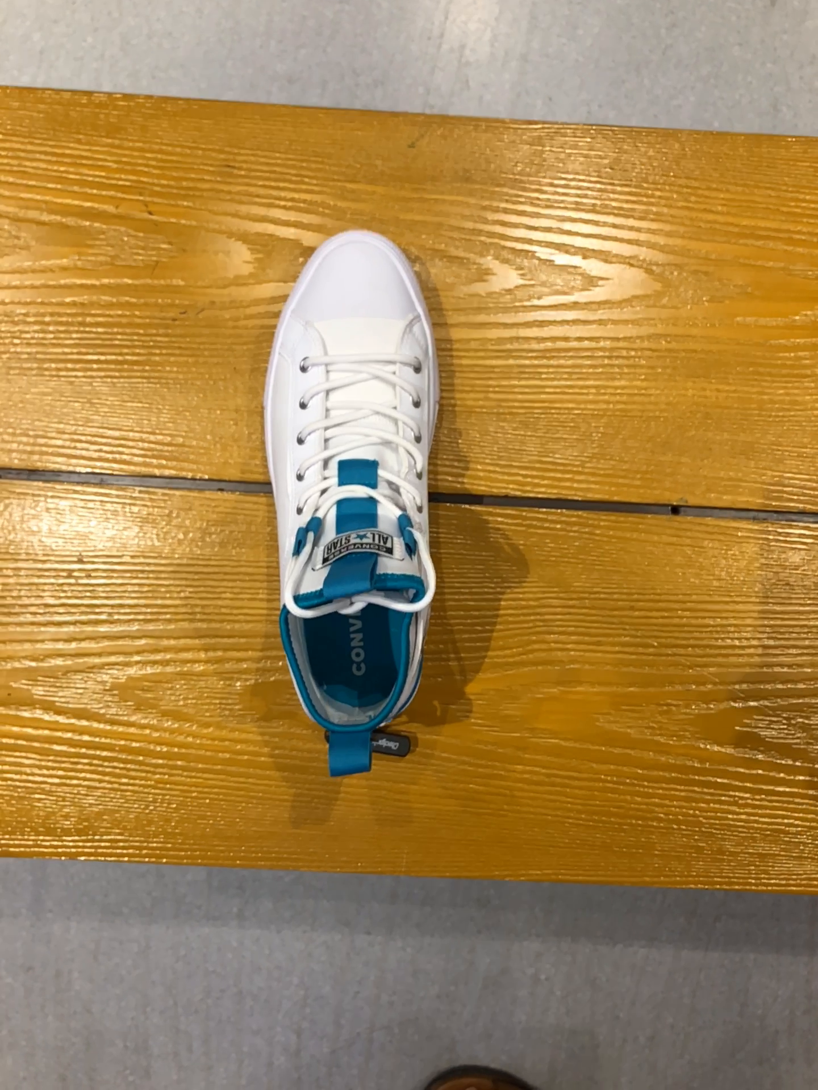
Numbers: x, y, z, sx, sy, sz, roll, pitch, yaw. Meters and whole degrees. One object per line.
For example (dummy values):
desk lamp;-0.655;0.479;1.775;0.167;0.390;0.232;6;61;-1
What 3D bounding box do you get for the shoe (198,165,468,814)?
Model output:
shoe;-0.036;-0.026;0.496;0.108;0.158;0.293;-3;91;-1
